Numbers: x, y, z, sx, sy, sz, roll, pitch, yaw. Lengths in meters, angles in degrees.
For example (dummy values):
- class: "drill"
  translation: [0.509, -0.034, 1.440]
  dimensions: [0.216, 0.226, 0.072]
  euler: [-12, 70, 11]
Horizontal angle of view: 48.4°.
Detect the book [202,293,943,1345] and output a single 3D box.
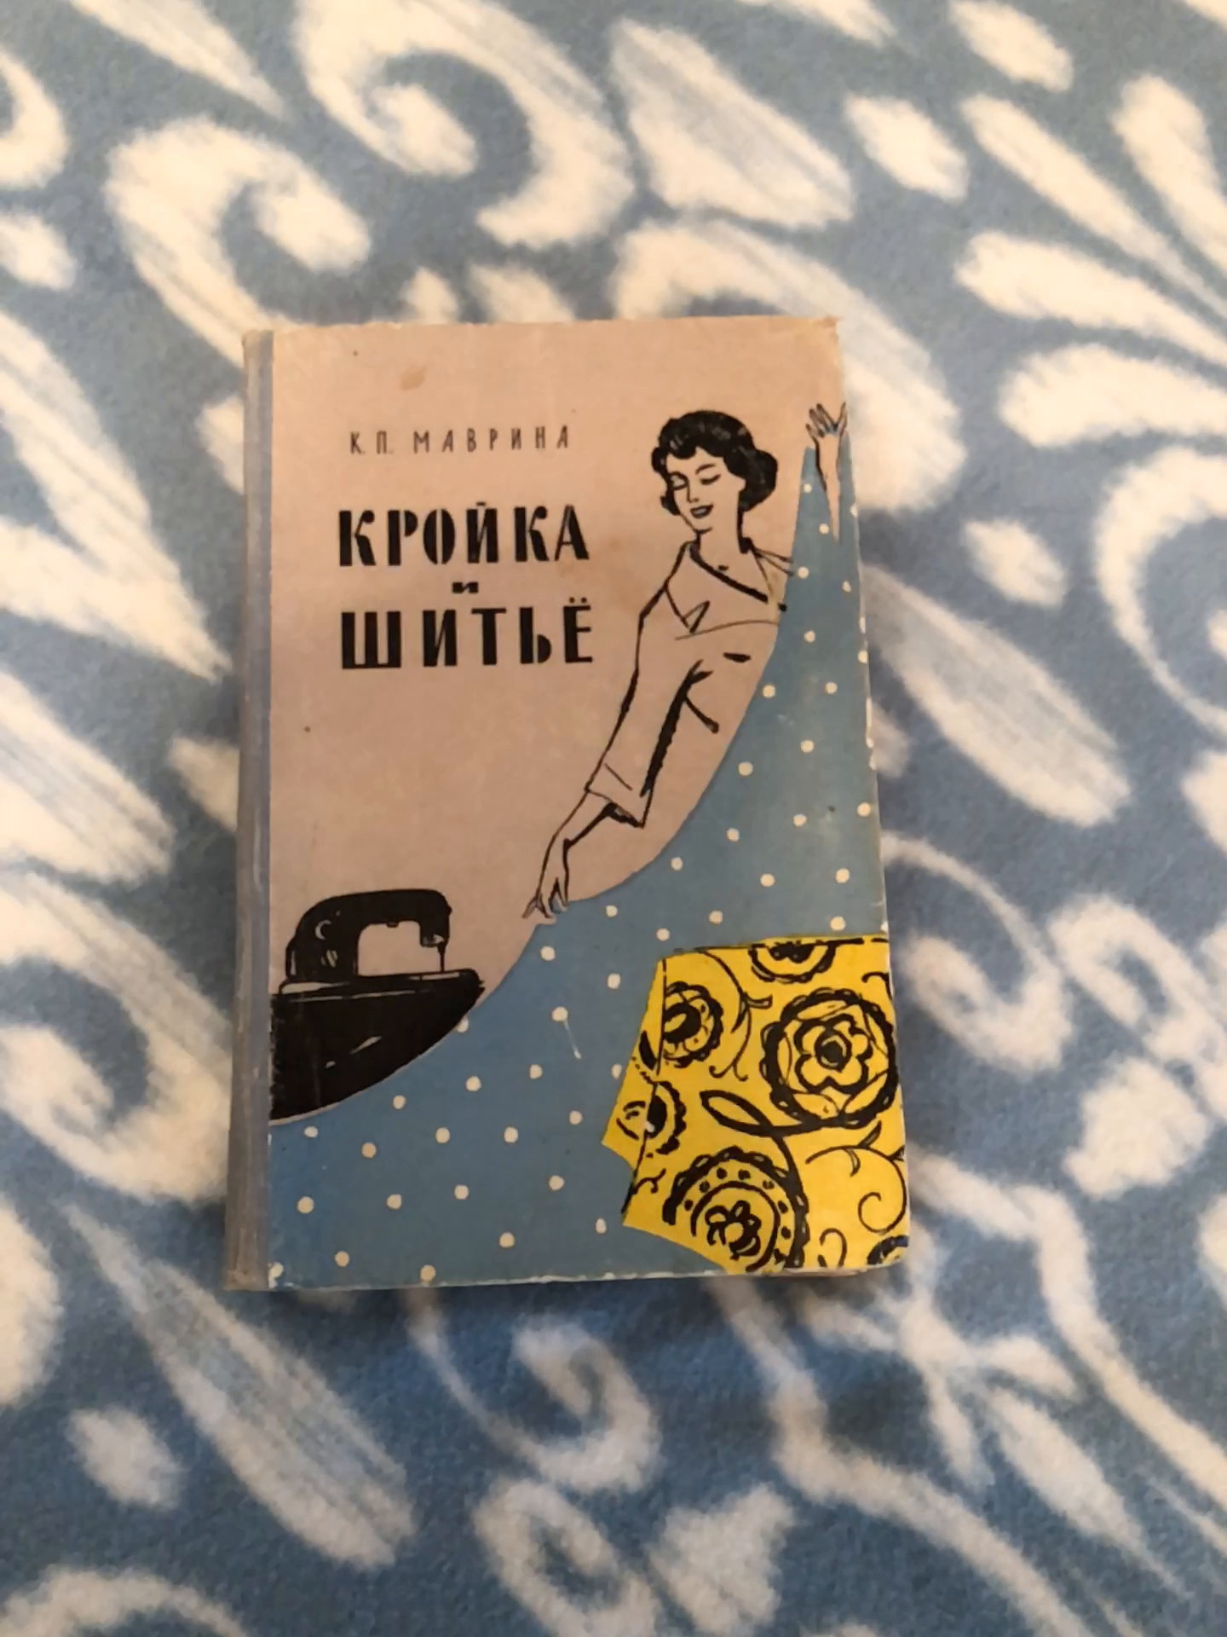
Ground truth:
- class: "book"
  translation: [-0.011, -0.005, 0.318]
  dimensions: [0.151, 0.037, 0.231]
  euler: [-1, 80, 0]
